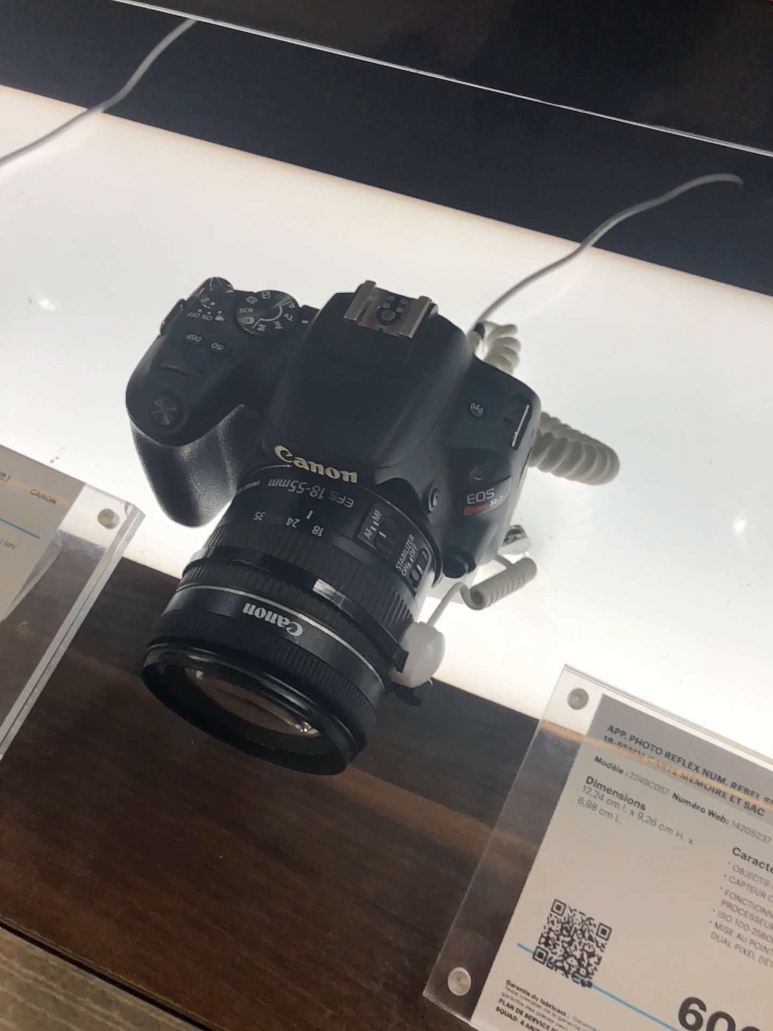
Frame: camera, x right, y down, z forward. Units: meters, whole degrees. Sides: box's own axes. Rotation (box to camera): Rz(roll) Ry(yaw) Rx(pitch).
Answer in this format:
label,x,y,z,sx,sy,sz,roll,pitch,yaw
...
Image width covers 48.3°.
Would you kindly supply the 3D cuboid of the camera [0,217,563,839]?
label,x,y,z,sx,sy,sz,roll,pitch,yaw
camera,-0.033,0.000,0.244,0.124,0.082,0.119,19,57,12
